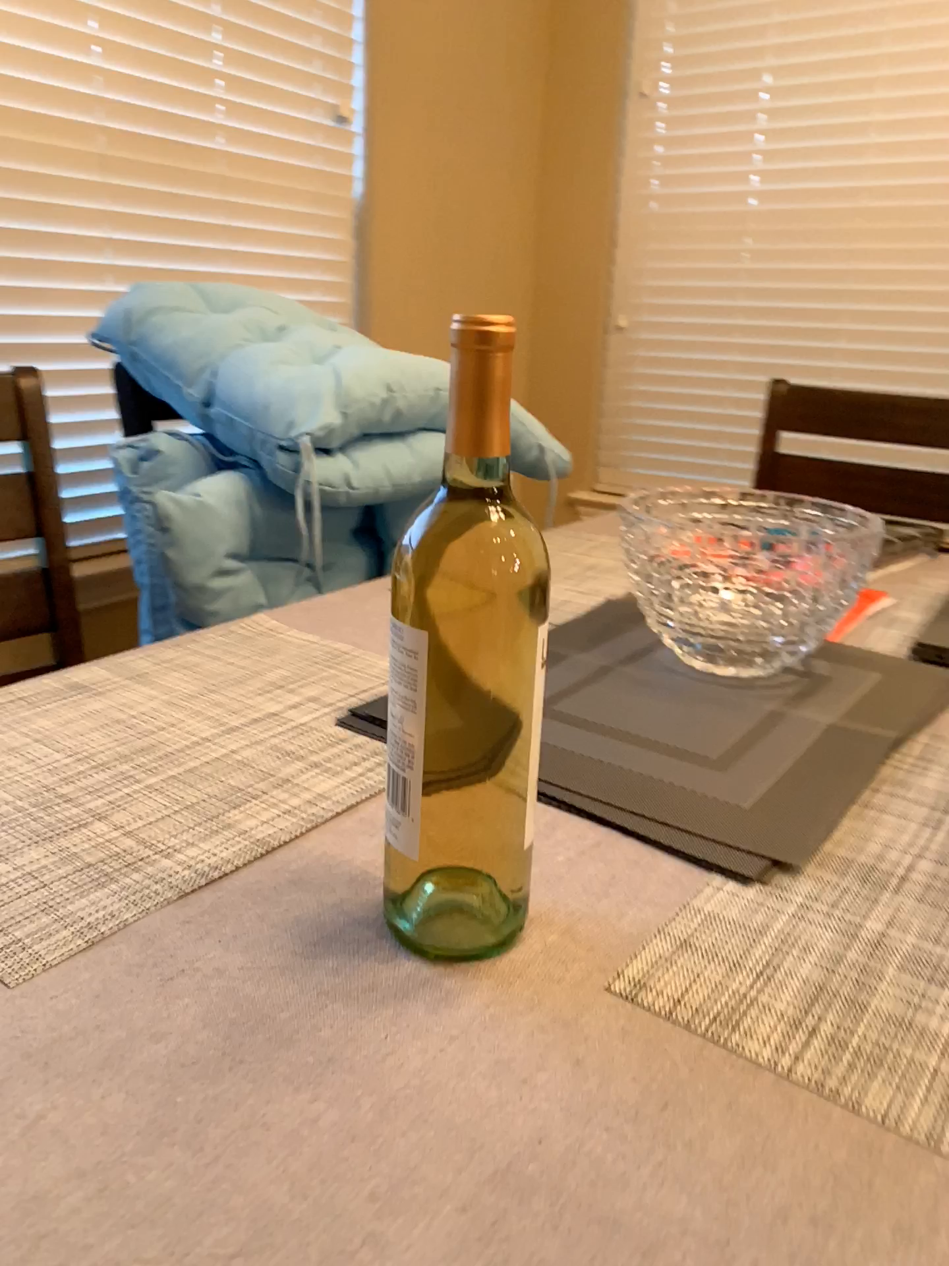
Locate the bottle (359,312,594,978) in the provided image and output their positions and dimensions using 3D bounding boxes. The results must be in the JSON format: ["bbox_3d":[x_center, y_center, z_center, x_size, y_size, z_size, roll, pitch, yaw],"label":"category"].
[{"bbox_3d":[-0.008,0.006,0.465,0.080,0.299,0.084,3,17,-1],"label":"bottle"}]
